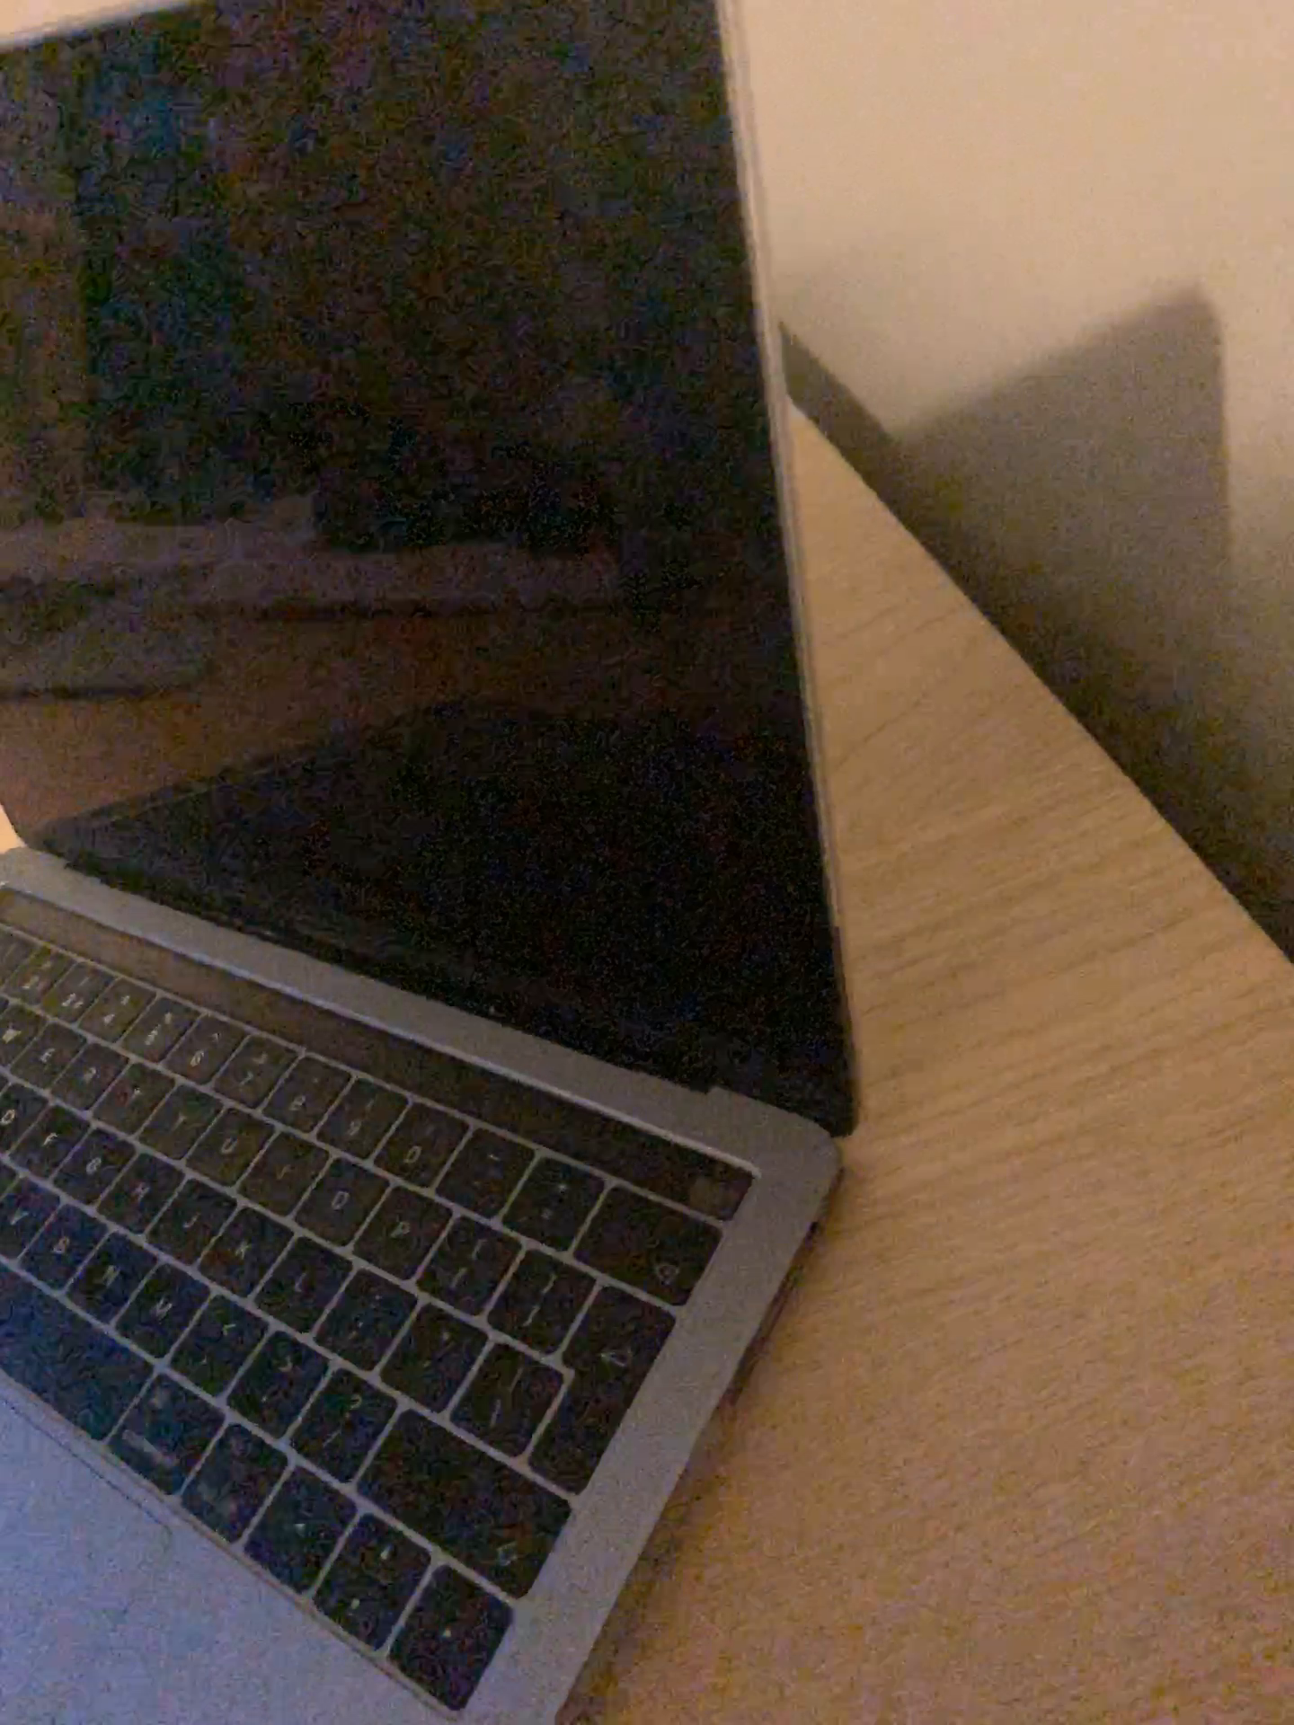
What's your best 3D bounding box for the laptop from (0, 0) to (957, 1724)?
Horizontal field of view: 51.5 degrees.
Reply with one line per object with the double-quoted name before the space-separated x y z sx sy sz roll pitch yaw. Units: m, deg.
"laptop" -0.149 0.018 0.244 0.295 0.197 0.257 14 55 35
